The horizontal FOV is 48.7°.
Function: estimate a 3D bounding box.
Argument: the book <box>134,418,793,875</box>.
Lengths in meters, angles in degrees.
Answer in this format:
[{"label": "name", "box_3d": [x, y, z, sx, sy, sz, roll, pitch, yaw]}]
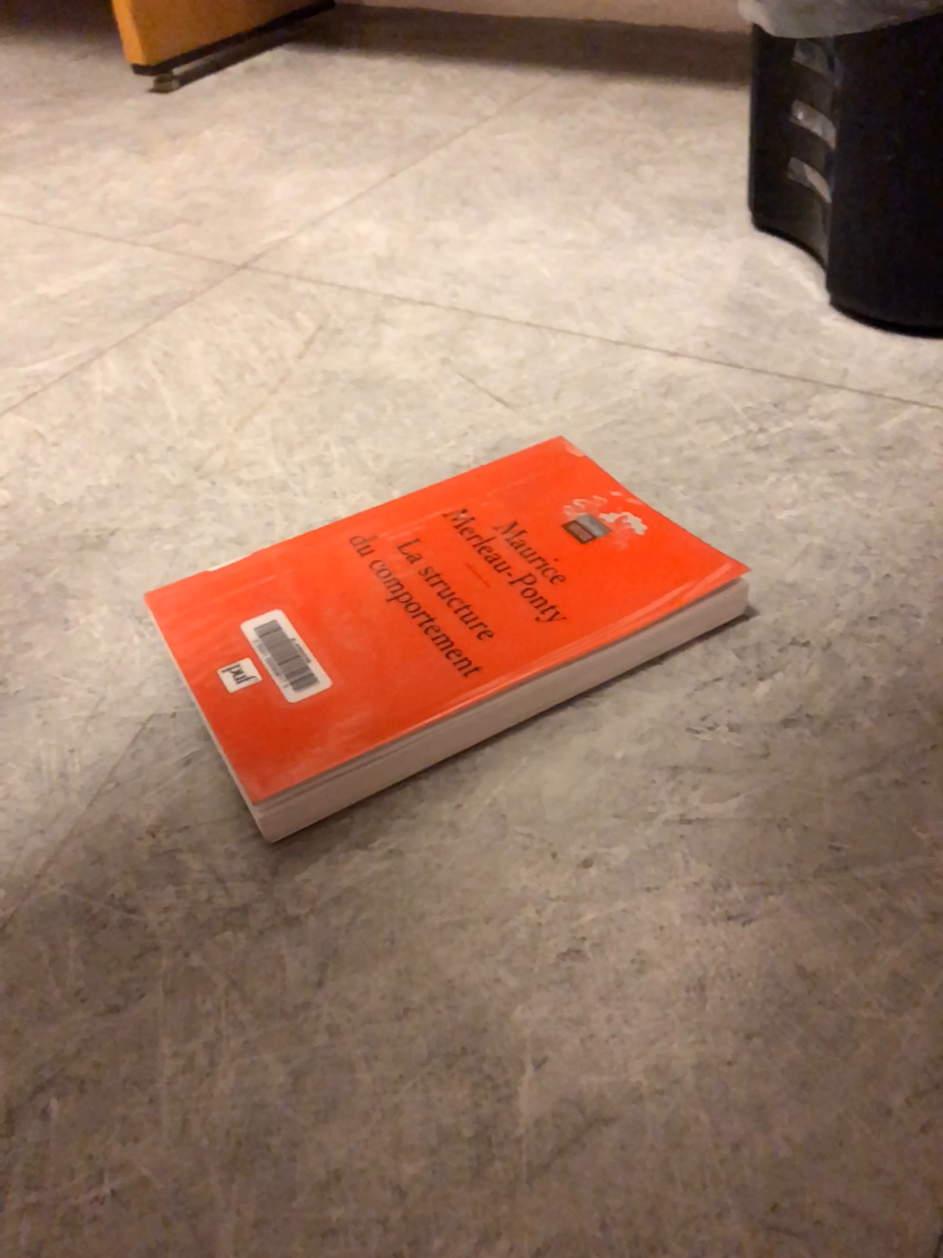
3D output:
[{"label": "book", "box_3d": [-0.006, -0.009, 0.385, 0.201, 0.020, 0.135, -23, 45, -19]}]
